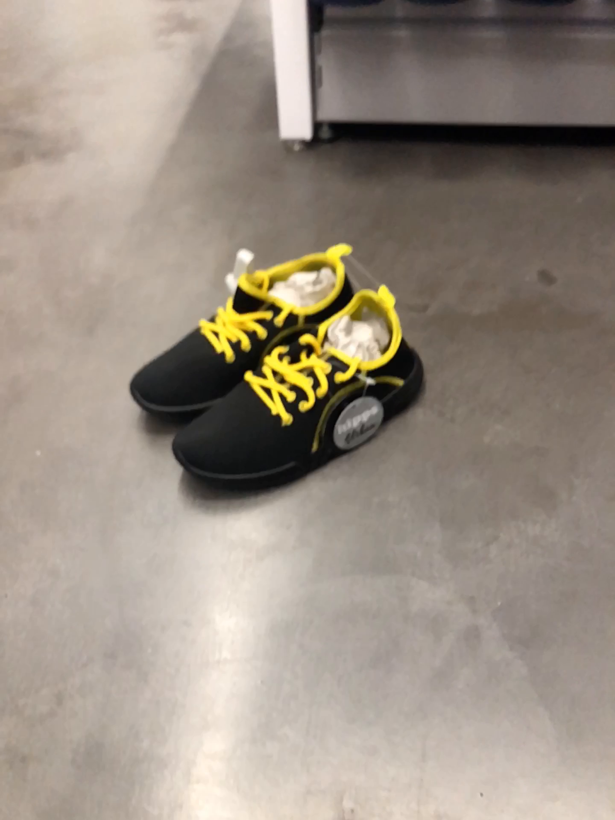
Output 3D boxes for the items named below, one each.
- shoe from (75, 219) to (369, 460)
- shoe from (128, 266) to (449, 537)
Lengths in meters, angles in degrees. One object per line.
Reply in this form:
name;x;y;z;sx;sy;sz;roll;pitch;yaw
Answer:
shoe;-0.067;-0.068;0.609;0.231;0.100;0.090;-27;52;-20
shoe;-0.009;-0.013;0.554;0.231;0.100;0.090;-27;52;-20
